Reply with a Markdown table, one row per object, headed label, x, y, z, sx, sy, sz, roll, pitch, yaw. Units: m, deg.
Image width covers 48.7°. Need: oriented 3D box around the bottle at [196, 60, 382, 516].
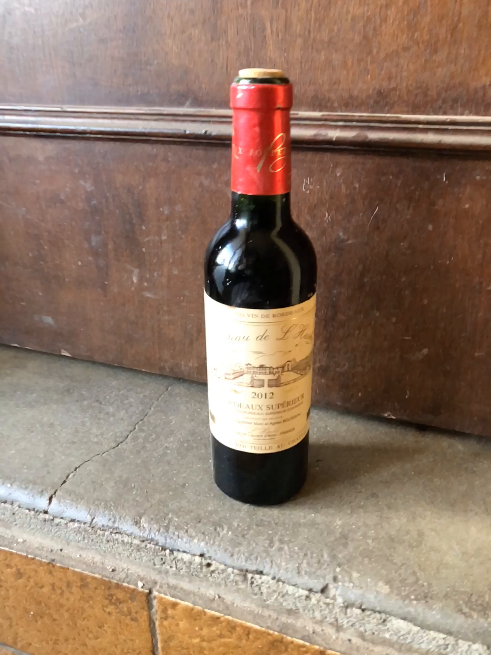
| label | x | y | z | sx | sy | sz | roll | pitch | yaw |
| --- | --- | --- | --- | --- | --- | --- | --- | --- | --- |
| bottle | 0.017 | -0.014 | 0.299 | 0.070 | 0.239 | 0.060 | -6 | 26 | -12 |
